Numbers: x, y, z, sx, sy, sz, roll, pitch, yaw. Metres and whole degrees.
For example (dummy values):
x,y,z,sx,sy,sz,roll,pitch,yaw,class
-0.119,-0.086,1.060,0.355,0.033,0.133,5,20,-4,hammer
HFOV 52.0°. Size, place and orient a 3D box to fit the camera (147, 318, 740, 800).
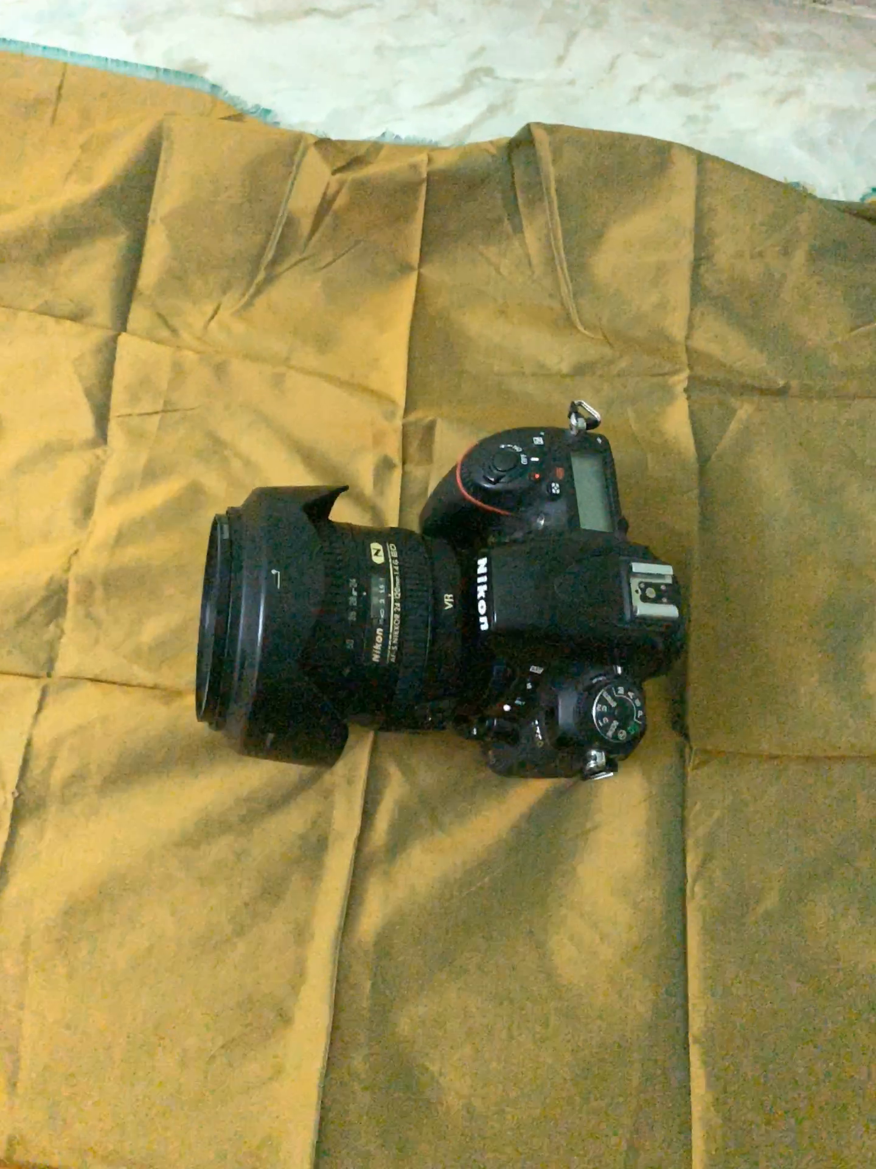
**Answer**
x,y,z,sx,sy,sz,roll,pitch,yaw,class
-0.004,0.003,0.348,0.192,0.100,0.140,6,69,-15,camera
